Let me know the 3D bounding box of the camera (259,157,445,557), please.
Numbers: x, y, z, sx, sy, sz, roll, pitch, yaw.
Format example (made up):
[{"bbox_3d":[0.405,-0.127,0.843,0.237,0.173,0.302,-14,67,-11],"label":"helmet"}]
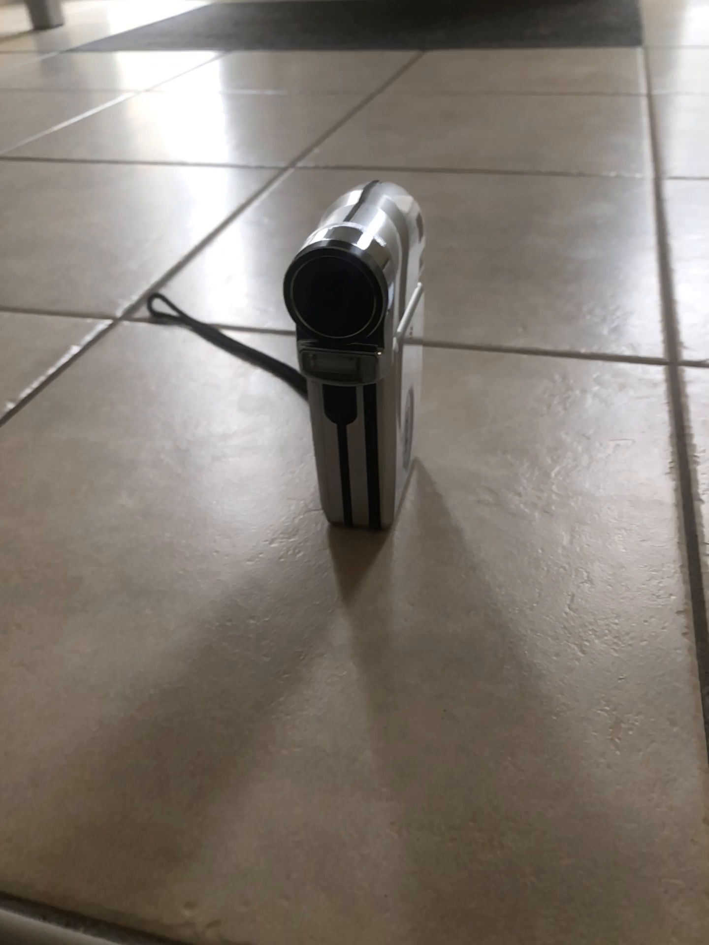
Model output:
[{"bbox_3d":[0.005,-0.041,0.272,0.040,0.109,0.081,5,37,12],"label":"camera"}]
